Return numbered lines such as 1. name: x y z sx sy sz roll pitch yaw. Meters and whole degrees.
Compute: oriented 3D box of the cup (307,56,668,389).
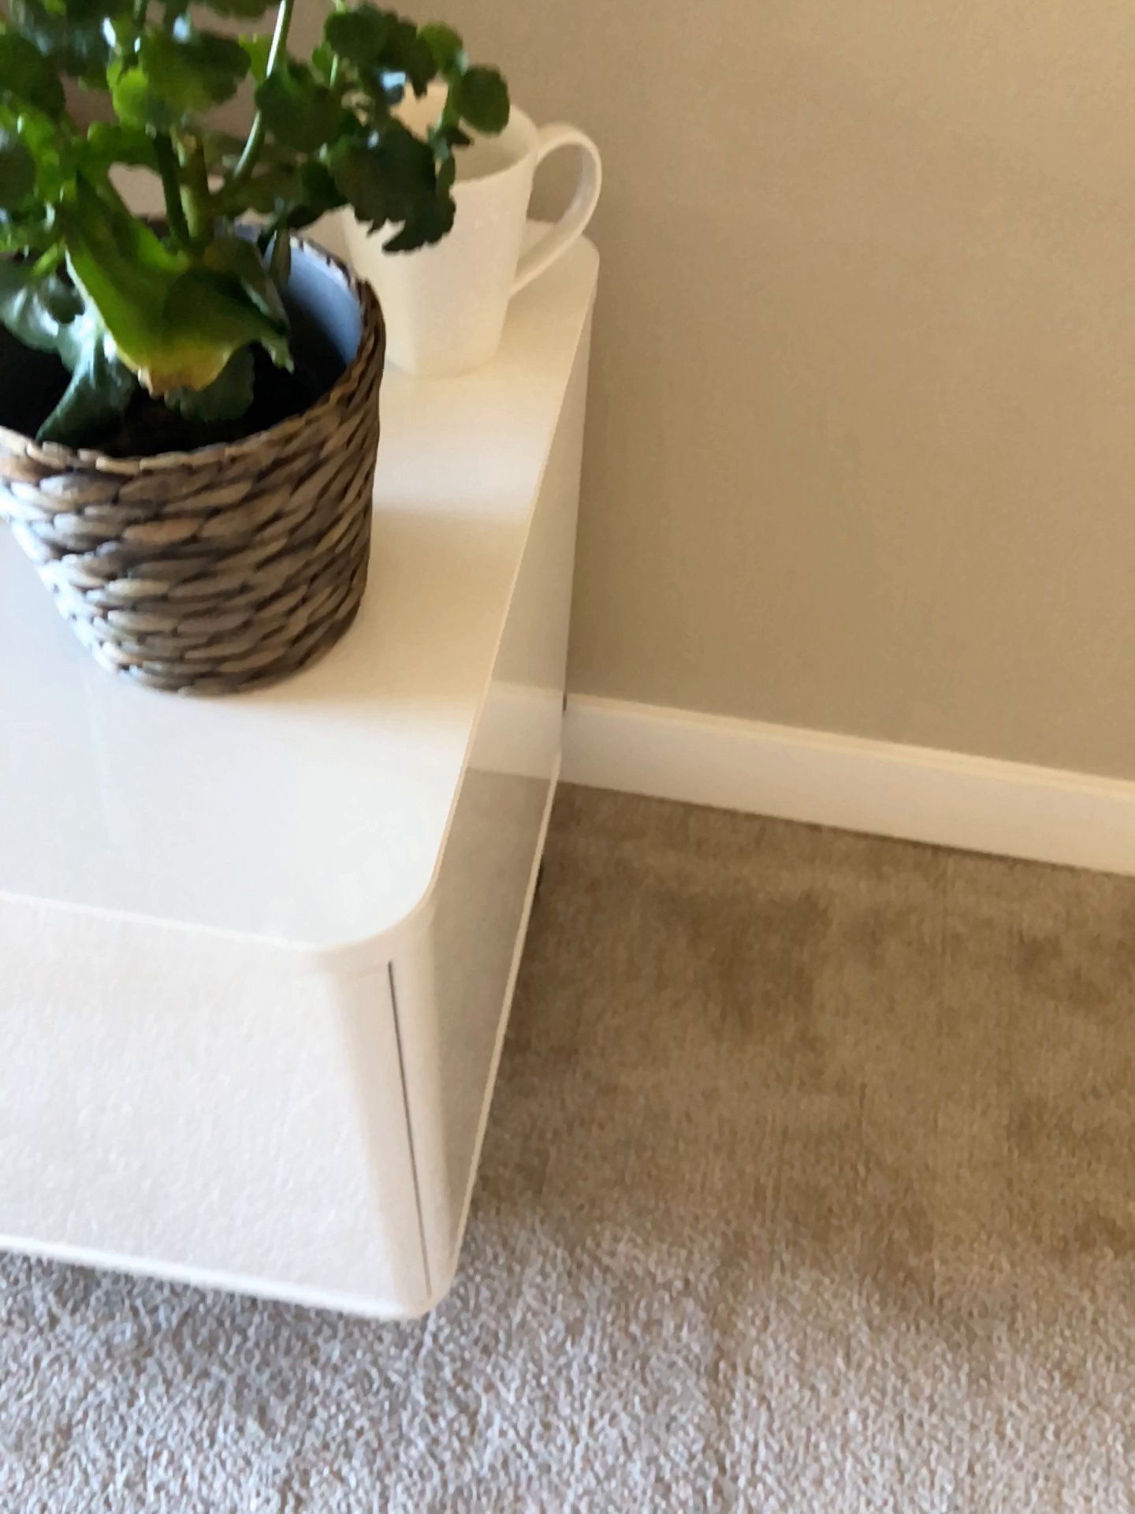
1. cup: -0.038 -0.248 0.581 0.130 0.090 0.090 -21 55 -20
